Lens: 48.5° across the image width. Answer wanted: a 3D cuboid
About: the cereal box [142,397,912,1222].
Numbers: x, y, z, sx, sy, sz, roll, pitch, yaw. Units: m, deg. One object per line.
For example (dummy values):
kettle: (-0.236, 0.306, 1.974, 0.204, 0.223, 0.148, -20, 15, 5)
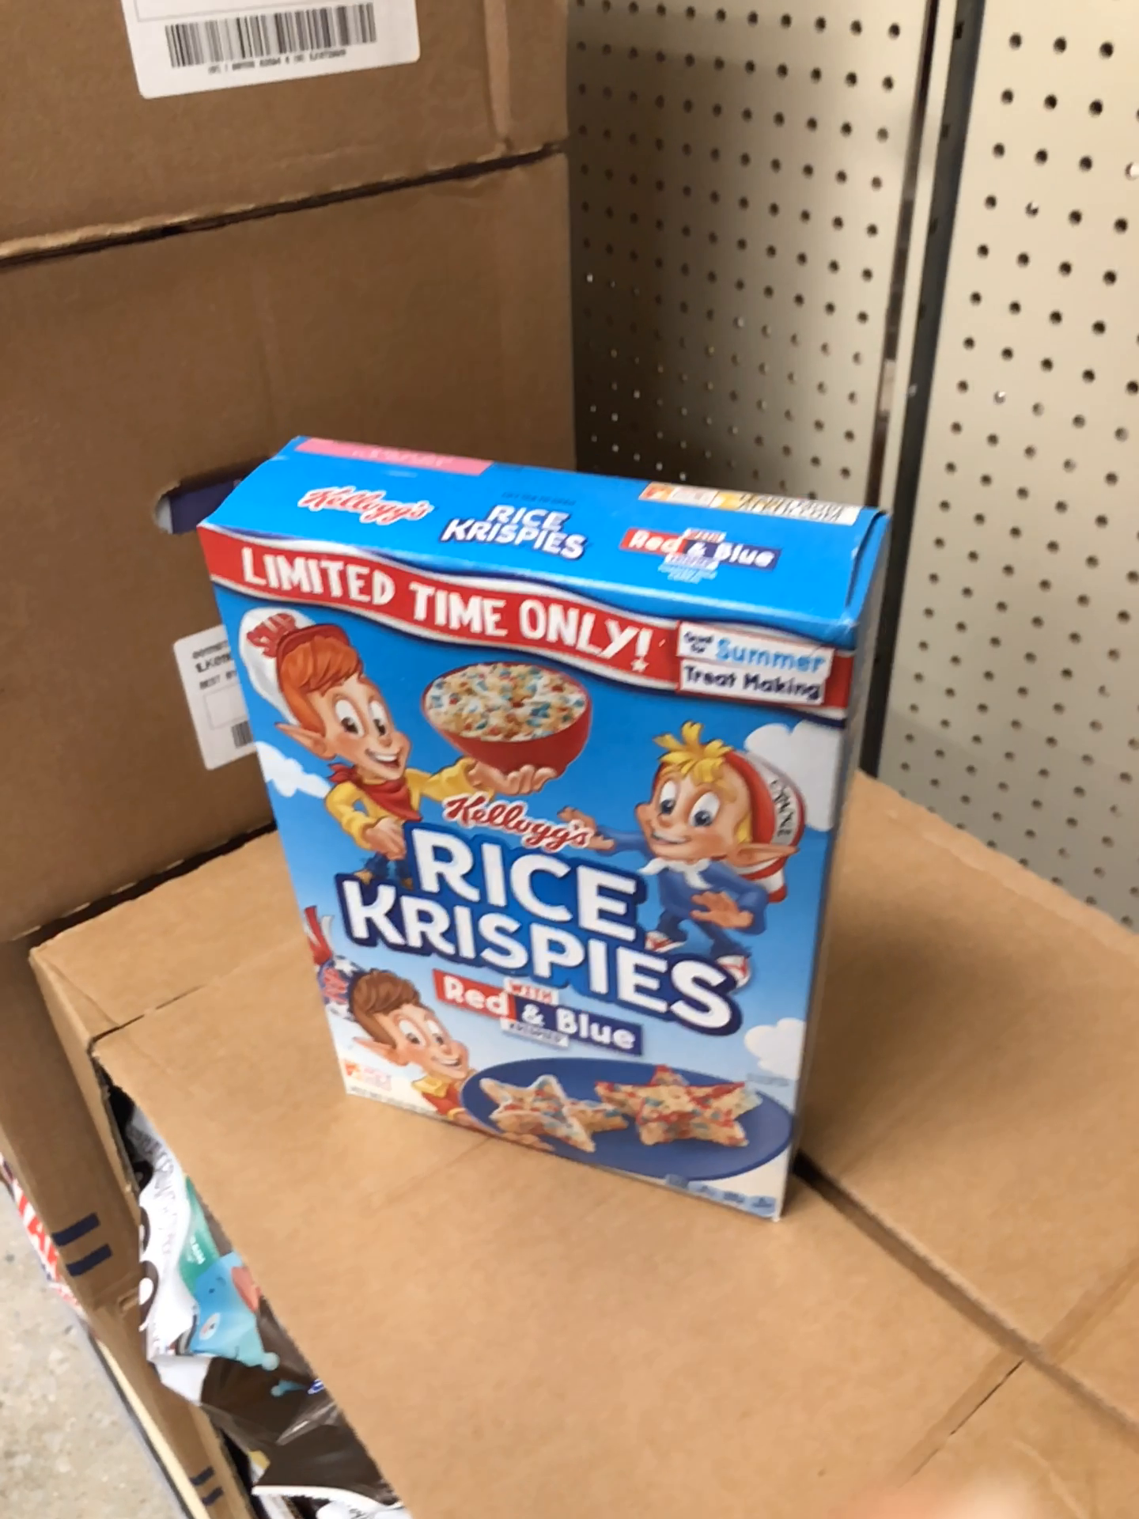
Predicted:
cereal box: (-0.005, 0.030, 0.432, 0.200, 0.279, 0.060, 11, 44, 18)
